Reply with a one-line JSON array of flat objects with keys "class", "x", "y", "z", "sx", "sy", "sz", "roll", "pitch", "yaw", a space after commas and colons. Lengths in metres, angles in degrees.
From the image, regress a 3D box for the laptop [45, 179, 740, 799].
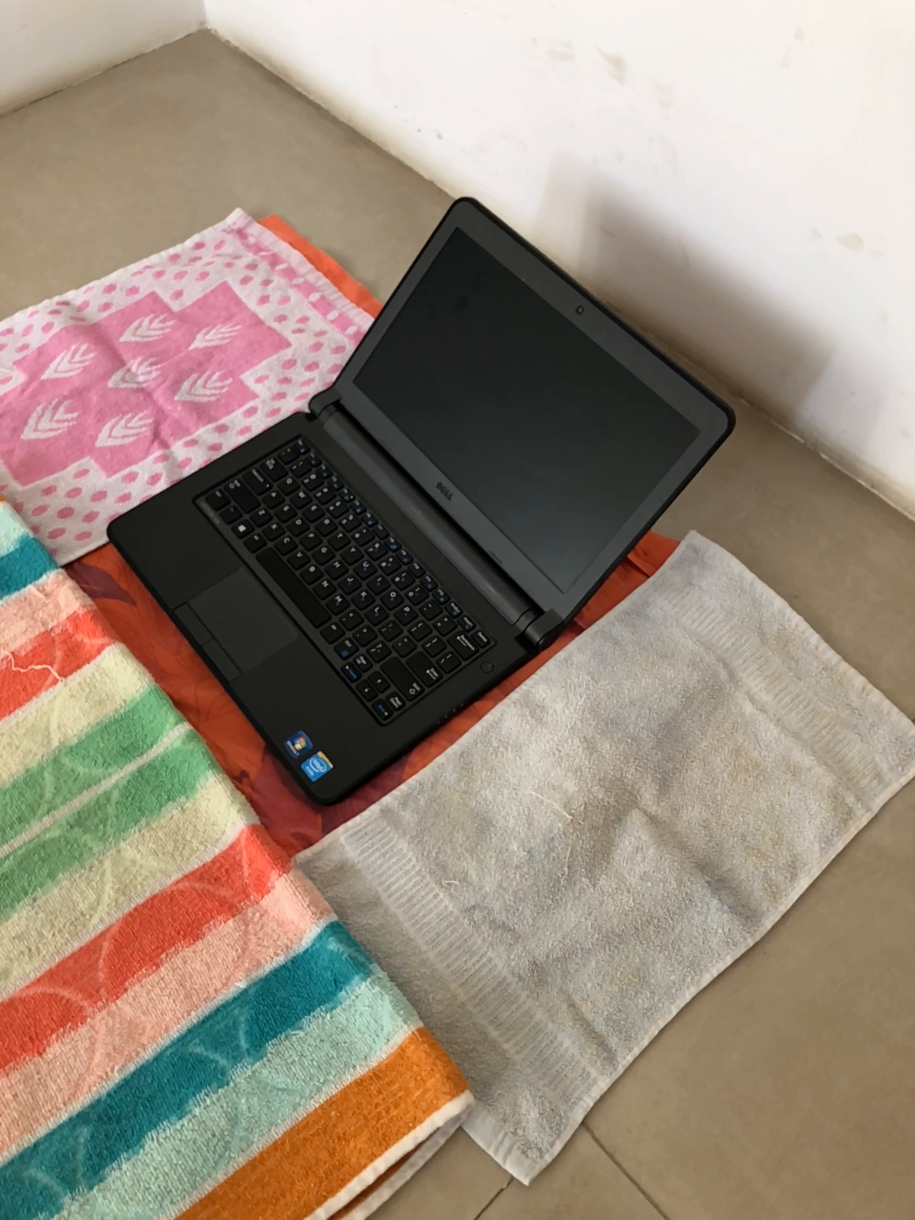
[{"class": "laptop", "x": -0.050, "y": -0.113, "z": 0.793, "sx": 0.392, "sy": 0.143, "sz": 0.314, "roll": -35, "pitch": 66, "yaw": -18}]
